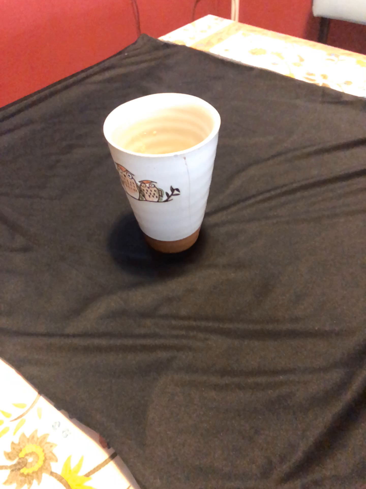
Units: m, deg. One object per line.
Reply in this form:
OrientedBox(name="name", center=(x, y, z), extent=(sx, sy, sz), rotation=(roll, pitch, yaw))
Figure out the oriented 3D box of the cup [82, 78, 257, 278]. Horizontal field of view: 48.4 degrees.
OrientedBox(name="cup", center=(-0.008, -0.052, 0.311), extent=(0.090, 0.099, 0.080), rotation=(-26, 50, -20))
